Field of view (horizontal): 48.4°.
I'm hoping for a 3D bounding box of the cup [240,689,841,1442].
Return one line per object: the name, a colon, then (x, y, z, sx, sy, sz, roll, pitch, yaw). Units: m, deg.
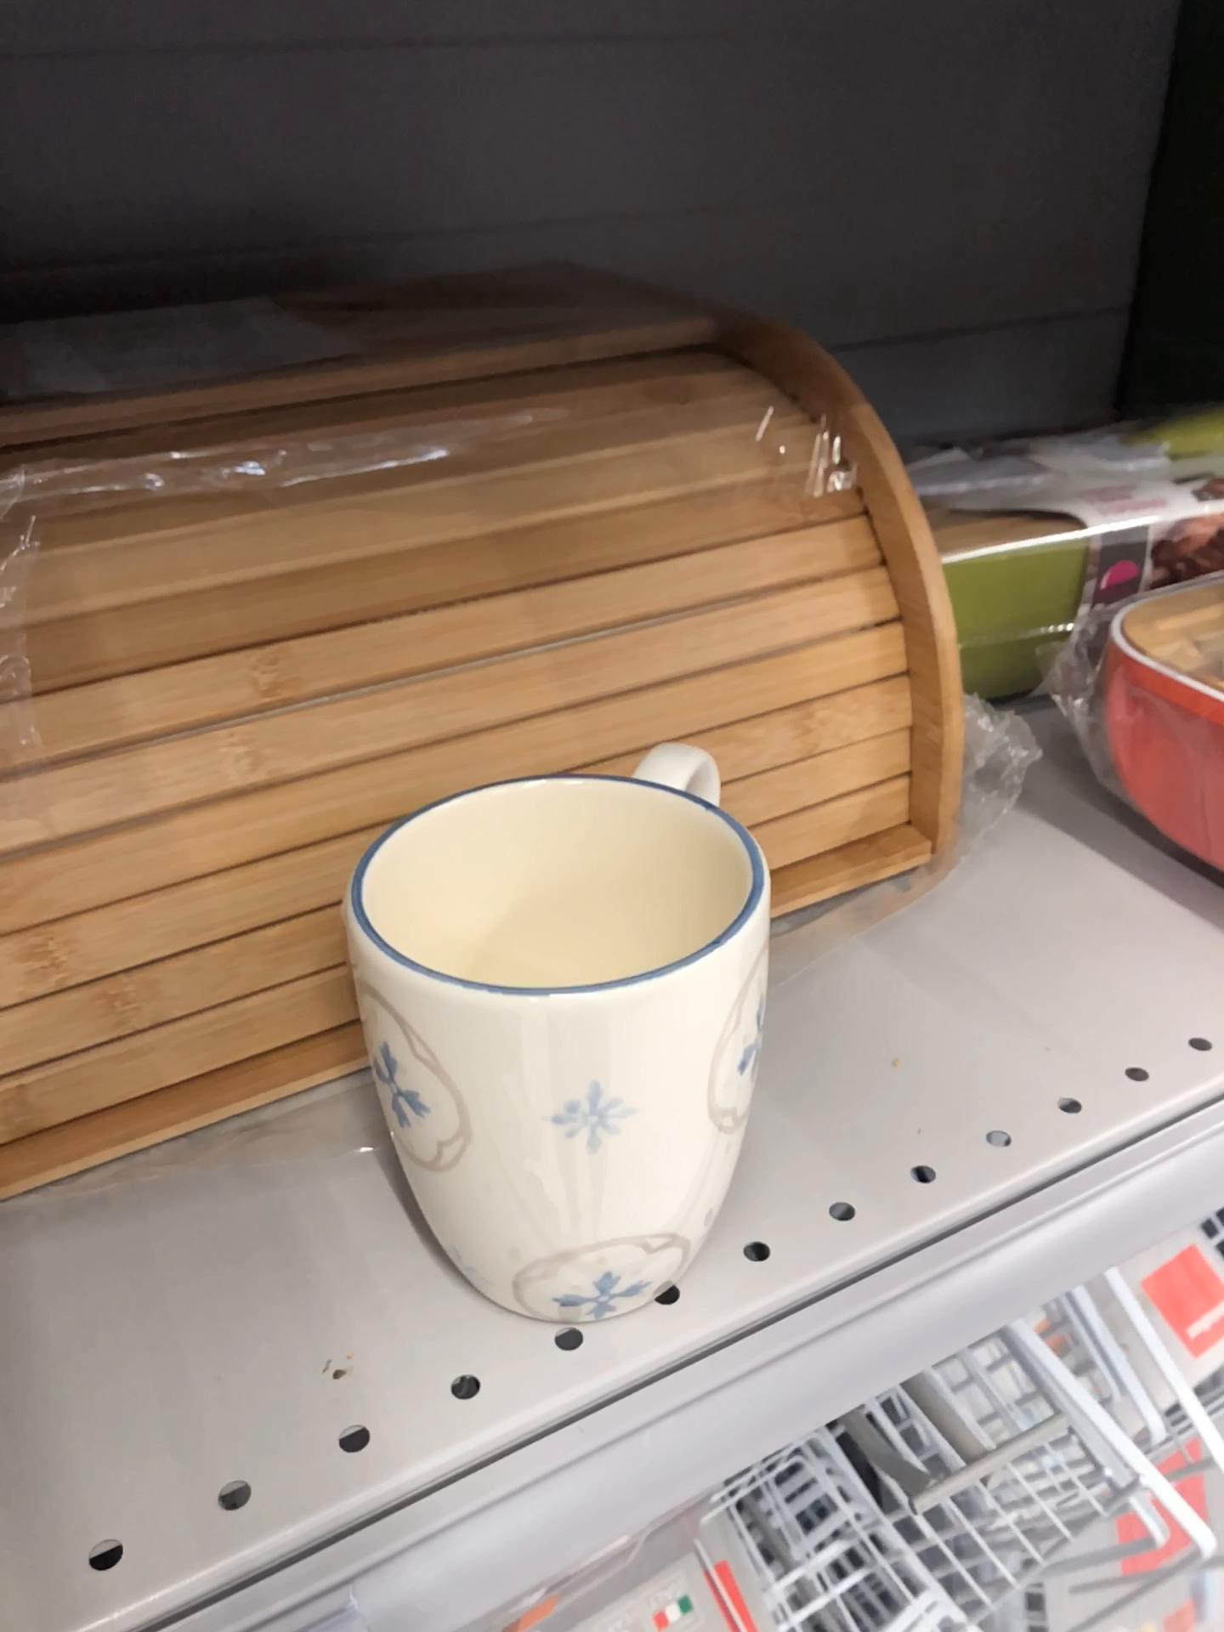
cup: (-0.005, 0.045, 0.310, 0.083, 0.089, 0.134, 9, 32, 17)
